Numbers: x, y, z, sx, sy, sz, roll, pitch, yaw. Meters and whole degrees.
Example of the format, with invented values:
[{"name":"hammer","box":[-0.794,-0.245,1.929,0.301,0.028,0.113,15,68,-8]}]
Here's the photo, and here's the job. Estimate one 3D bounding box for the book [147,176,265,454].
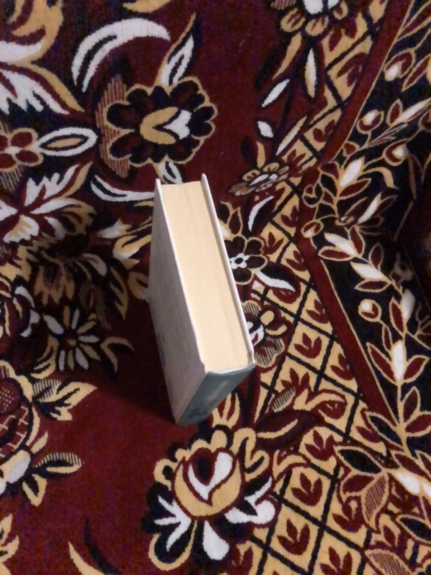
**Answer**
[{"name":"book","box":[-0.023,0.040,0.384,0.040,0.212,0.153,-8,66,-12]}]
